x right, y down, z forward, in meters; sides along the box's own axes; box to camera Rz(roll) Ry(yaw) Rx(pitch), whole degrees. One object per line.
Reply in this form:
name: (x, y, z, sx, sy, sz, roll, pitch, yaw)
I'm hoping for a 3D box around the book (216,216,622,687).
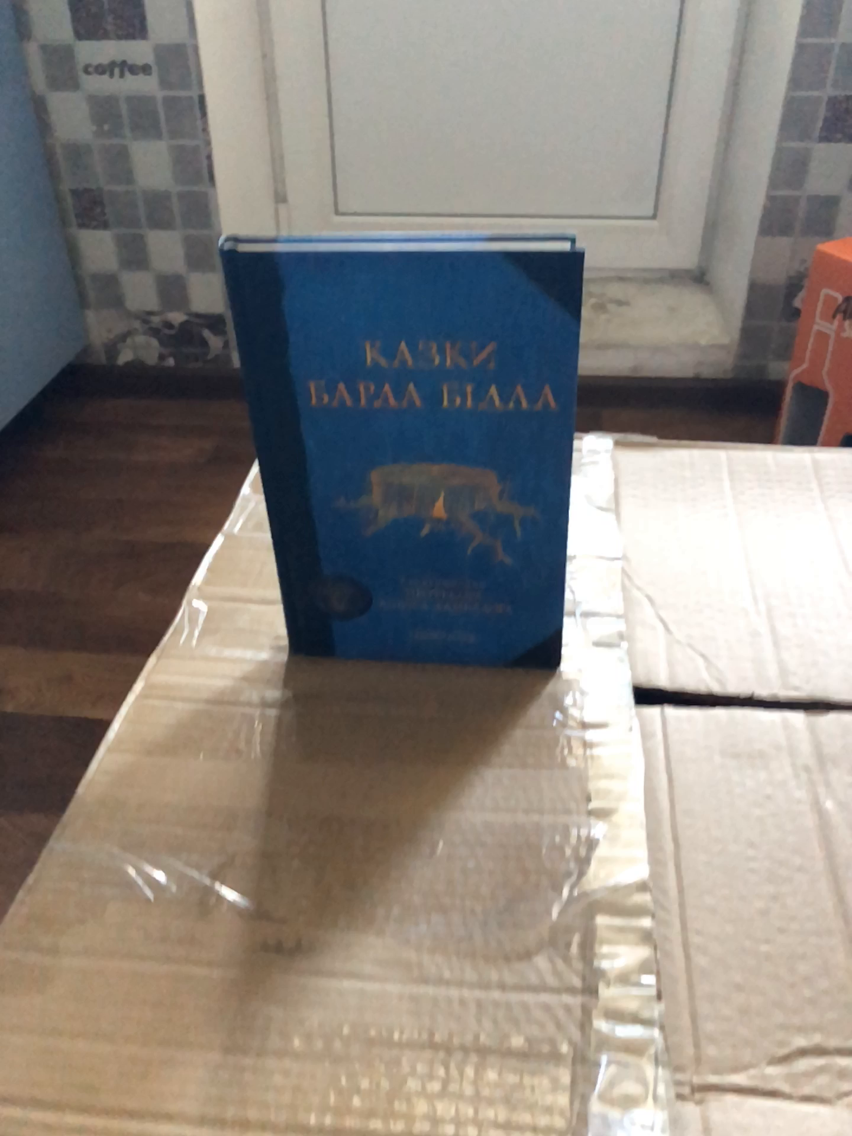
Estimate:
book: (-0.001, -0.040, 0.397, 0.144, 0.198, 0.030, 4, 35, 7)
